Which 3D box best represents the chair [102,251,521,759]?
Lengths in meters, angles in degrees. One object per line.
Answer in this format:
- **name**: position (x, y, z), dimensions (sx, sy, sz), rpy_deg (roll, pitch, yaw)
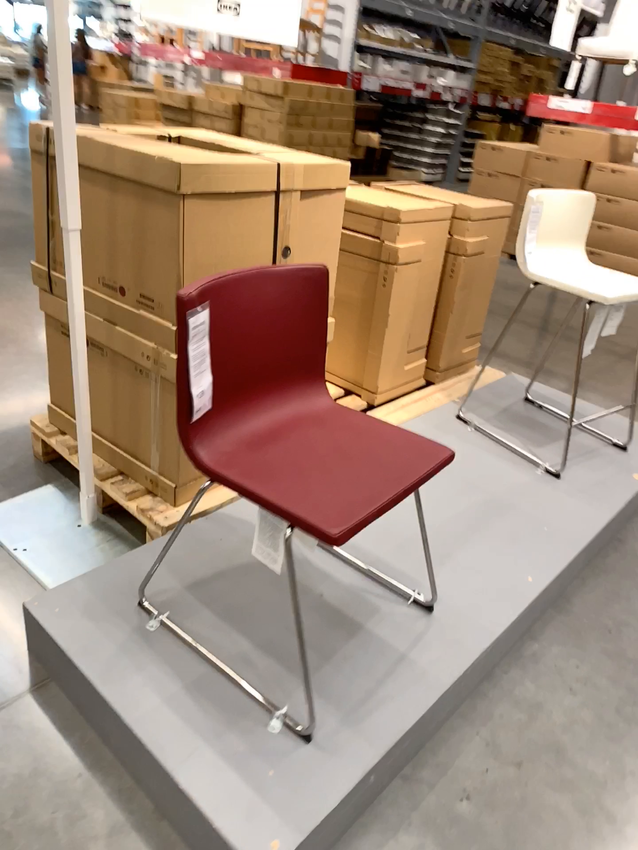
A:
- **chair**: position (-0.040, 0.101, 1.342), dimensions (0.551, 0.727, 0.532), rpy_deg (25, 32, 30)
